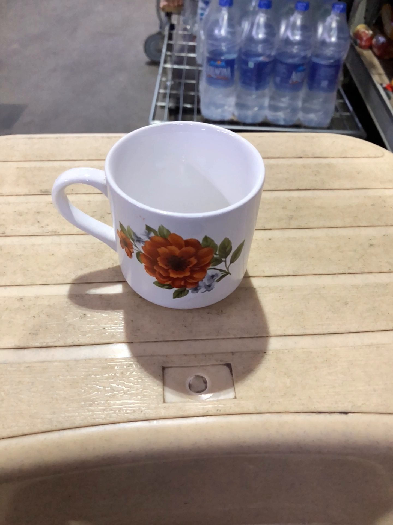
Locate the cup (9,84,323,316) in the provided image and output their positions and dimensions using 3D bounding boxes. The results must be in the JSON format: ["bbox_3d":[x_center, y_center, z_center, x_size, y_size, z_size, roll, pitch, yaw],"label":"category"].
[{"bbox_3d":[-0.009,-0.027,0.185,0.100,0.060,0.070,4,46,0],"label":"cup"}]
